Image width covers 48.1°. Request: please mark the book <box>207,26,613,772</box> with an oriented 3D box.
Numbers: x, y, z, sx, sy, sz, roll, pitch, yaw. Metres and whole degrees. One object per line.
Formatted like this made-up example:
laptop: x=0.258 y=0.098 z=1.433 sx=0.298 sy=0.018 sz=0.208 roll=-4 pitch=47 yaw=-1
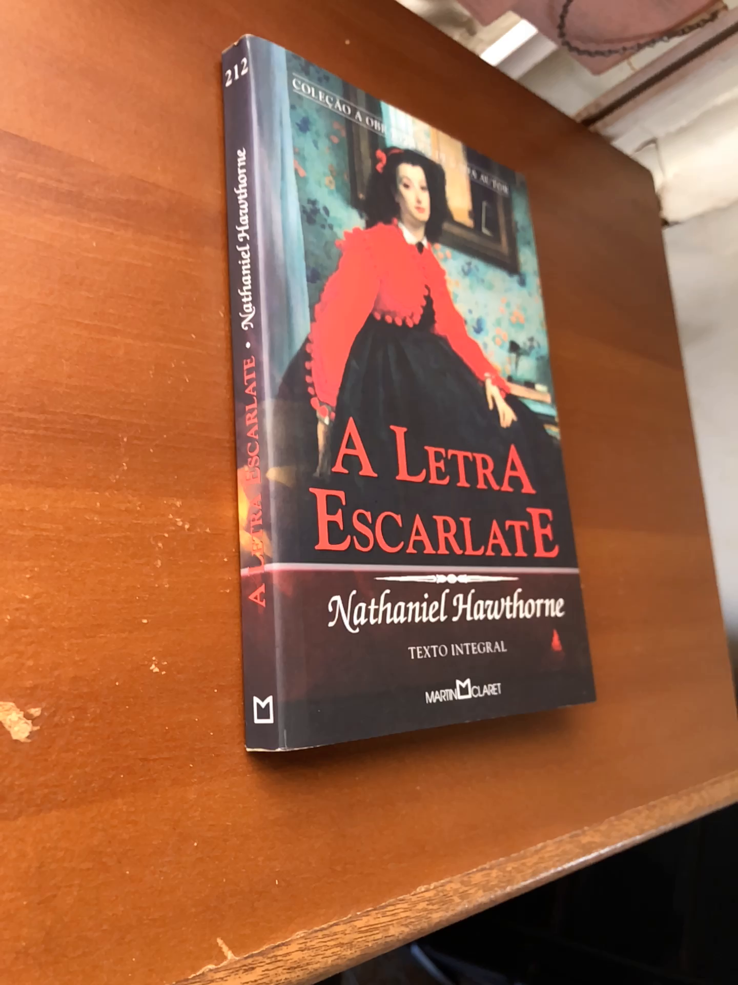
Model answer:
book: x=0.014 y=-0.022 z=0.217 sx=0.112 sy=0.015 sz=0.166 roll=6 pitch=74 yaw=-40
